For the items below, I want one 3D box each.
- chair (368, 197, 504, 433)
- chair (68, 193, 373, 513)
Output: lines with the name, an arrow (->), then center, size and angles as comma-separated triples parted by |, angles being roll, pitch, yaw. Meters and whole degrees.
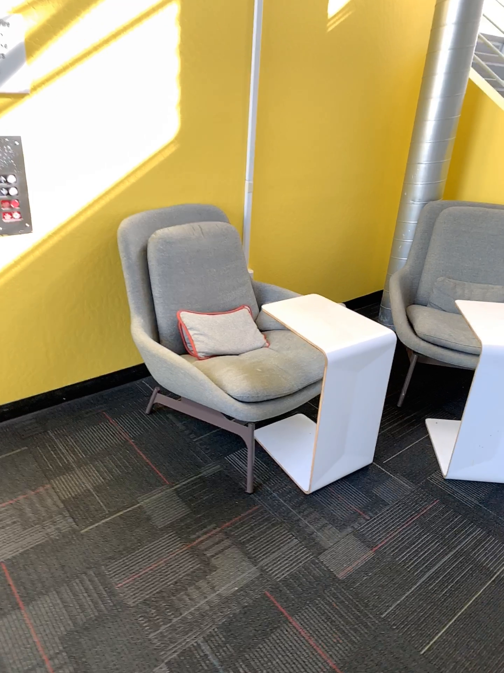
chair -> 1.199, -0.179, 2.894 | 0.890, 1.015, 0.844 | 6, 23, 7
chair -> -0.132, -0.041, 2.172 | 0.873, 0.925, 0.802 | 21, 30, 37
